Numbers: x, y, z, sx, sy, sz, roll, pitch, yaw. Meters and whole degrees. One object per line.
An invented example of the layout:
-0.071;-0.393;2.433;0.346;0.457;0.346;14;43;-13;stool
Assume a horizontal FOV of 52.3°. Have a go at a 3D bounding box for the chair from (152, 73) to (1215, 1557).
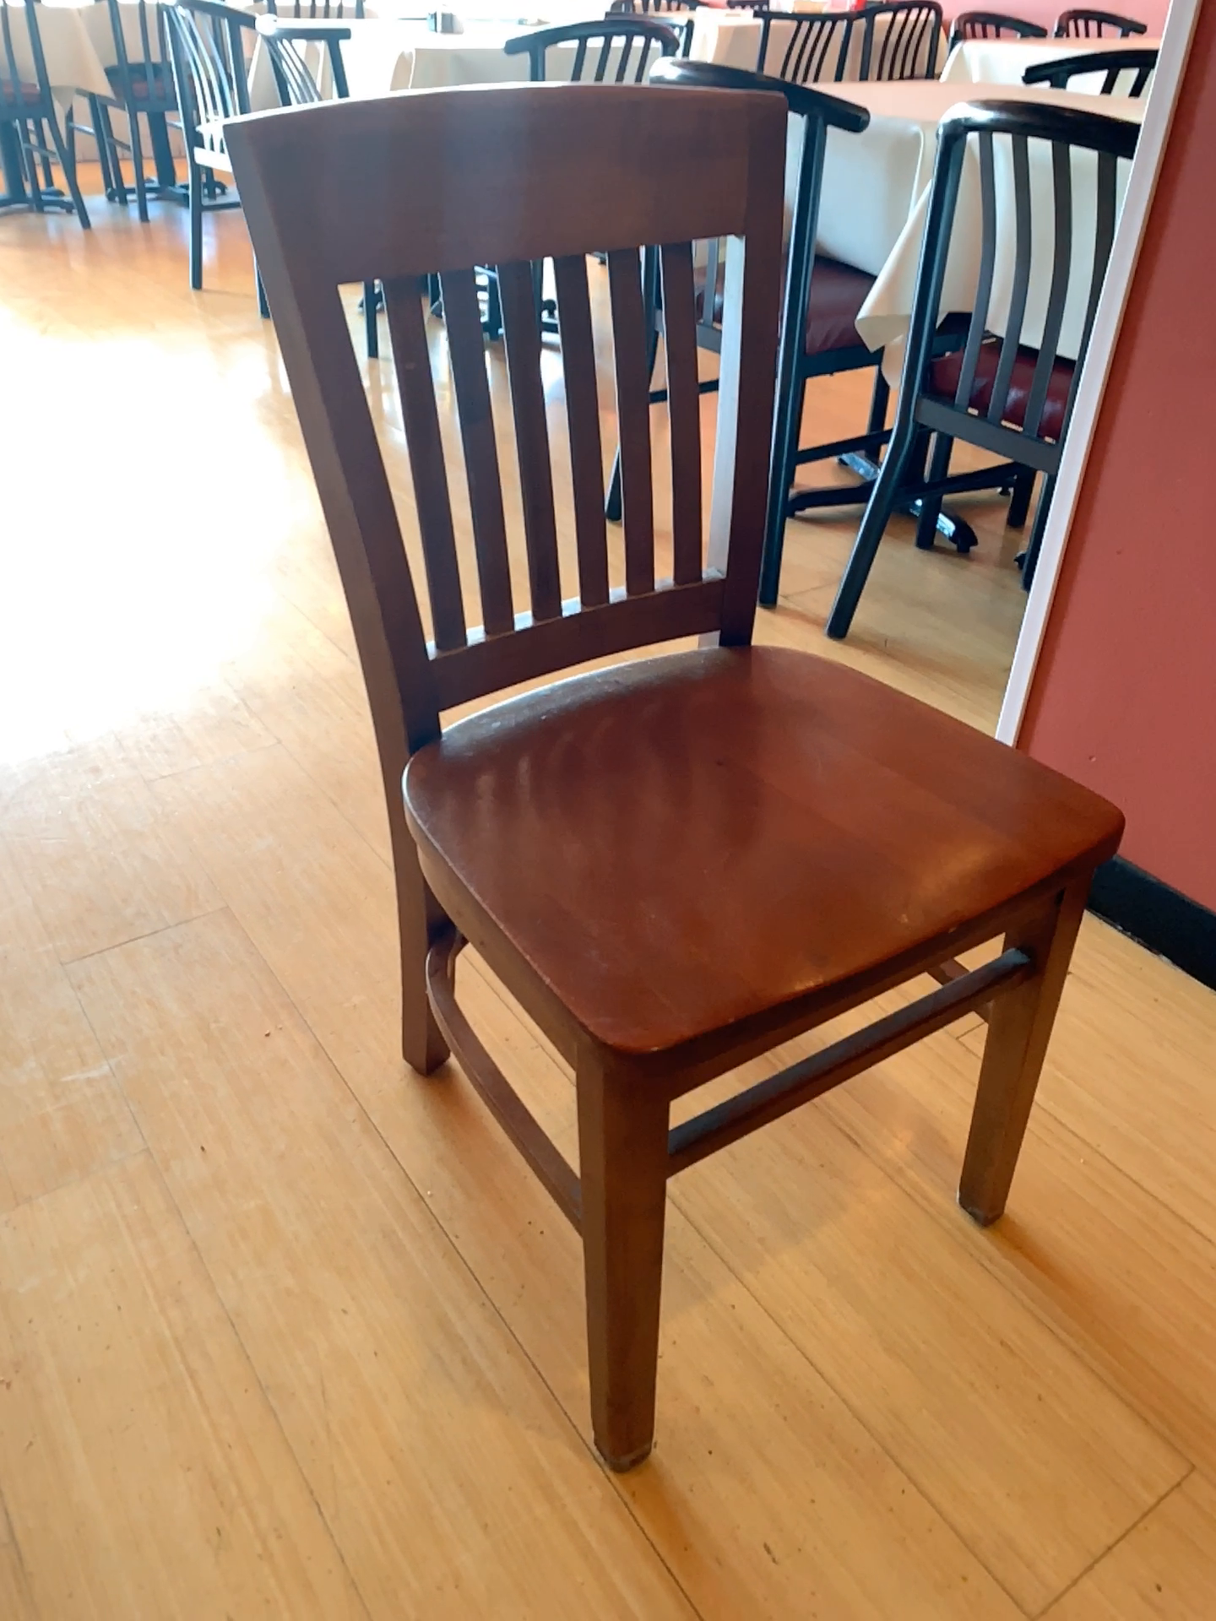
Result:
0.080;-0.047;0.966;0.541;0.875;0.573;-19;38;-28;chair
